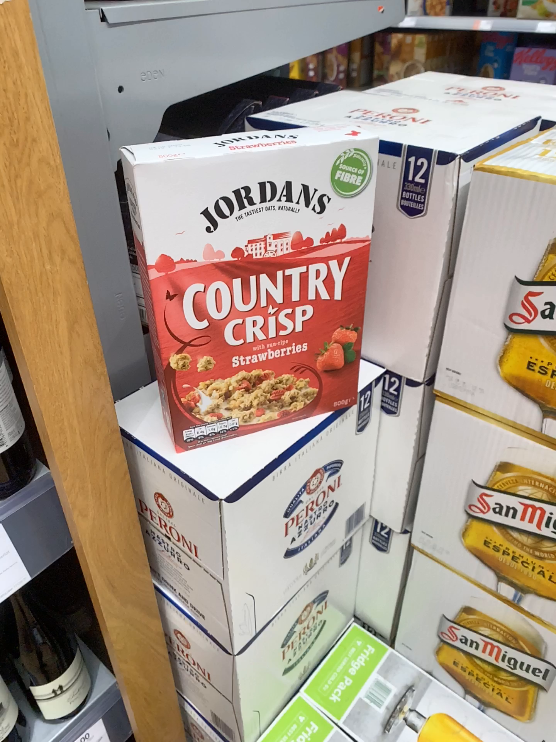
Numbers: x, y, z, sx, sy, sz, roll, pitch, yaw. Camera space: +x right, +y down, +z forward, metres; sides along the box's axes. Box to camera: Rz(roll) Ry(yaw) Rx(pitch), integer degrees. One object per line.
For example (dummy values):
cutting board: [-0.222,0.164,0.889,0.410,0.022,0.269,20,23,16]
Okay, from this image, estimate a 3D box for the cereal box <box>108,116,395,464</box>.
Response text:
cereal box: [-0.014,-0.058,0.460,0.190,0.248,0.050,-13,36,-17]
